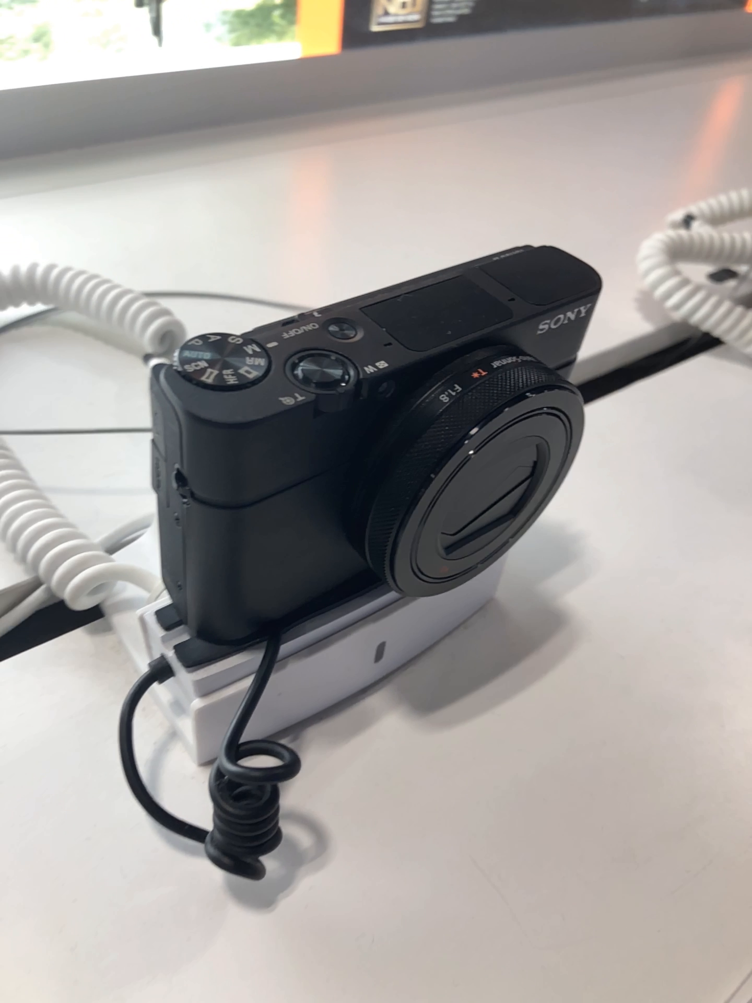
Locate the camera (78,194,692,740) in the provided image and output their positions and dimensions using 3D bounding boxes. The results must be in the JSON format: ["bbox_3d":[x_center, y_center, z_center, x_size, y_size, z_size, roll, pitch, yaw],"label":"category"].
[{"bbox_3d":[0.004,-0.012,0.175,0.110,0.070,0.040,-25,52,-31],"label":"camera"}]
